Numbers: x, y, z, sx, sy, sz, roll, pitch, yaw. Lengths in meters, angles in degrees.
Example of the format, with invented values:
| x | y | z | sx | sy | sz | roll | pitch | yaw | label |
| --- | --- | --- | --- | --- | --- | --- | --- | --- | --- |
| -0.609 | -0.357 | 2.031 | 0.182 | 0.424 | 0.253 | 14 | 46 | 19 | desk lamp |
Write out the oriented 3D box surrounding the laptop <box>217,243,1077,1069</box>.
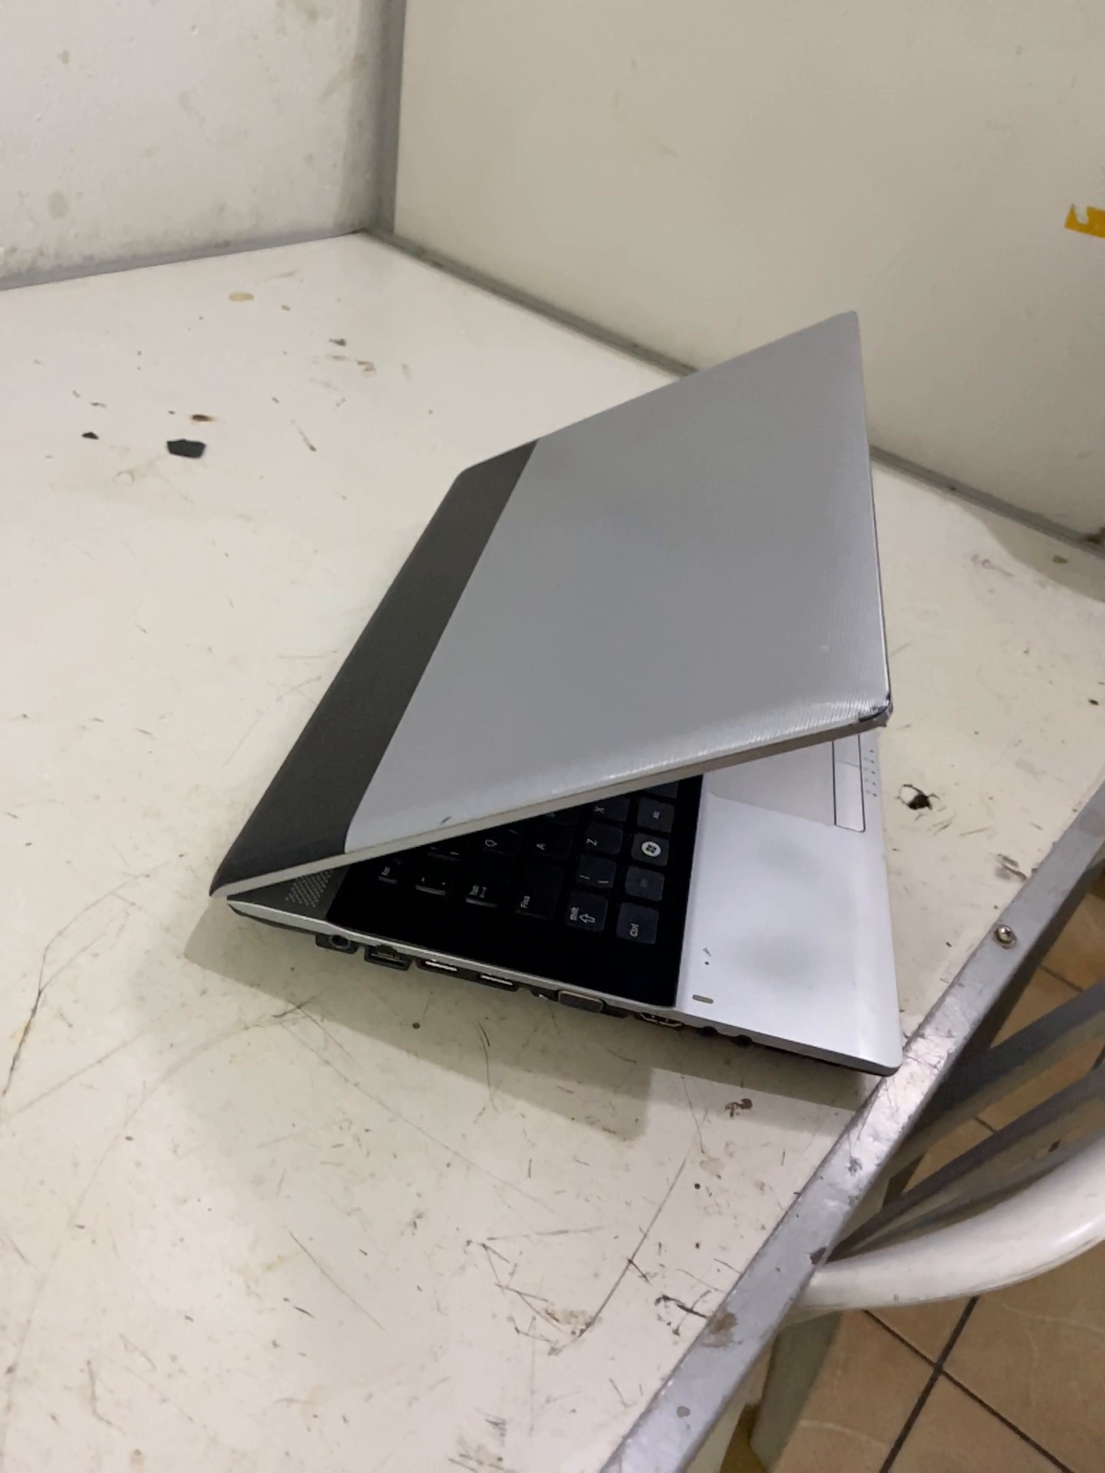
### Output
| x | y | z | sx | sy | sz | roll | pitch | yaw | label |
| --- | --- | --- | --- | --- | --- | --- | --- | --- | --- |
| 0.041 | -0.069 | 0.473 | 0.232 | 0.133 | 0.338 | 13 | 38 | 2 | laptop |
